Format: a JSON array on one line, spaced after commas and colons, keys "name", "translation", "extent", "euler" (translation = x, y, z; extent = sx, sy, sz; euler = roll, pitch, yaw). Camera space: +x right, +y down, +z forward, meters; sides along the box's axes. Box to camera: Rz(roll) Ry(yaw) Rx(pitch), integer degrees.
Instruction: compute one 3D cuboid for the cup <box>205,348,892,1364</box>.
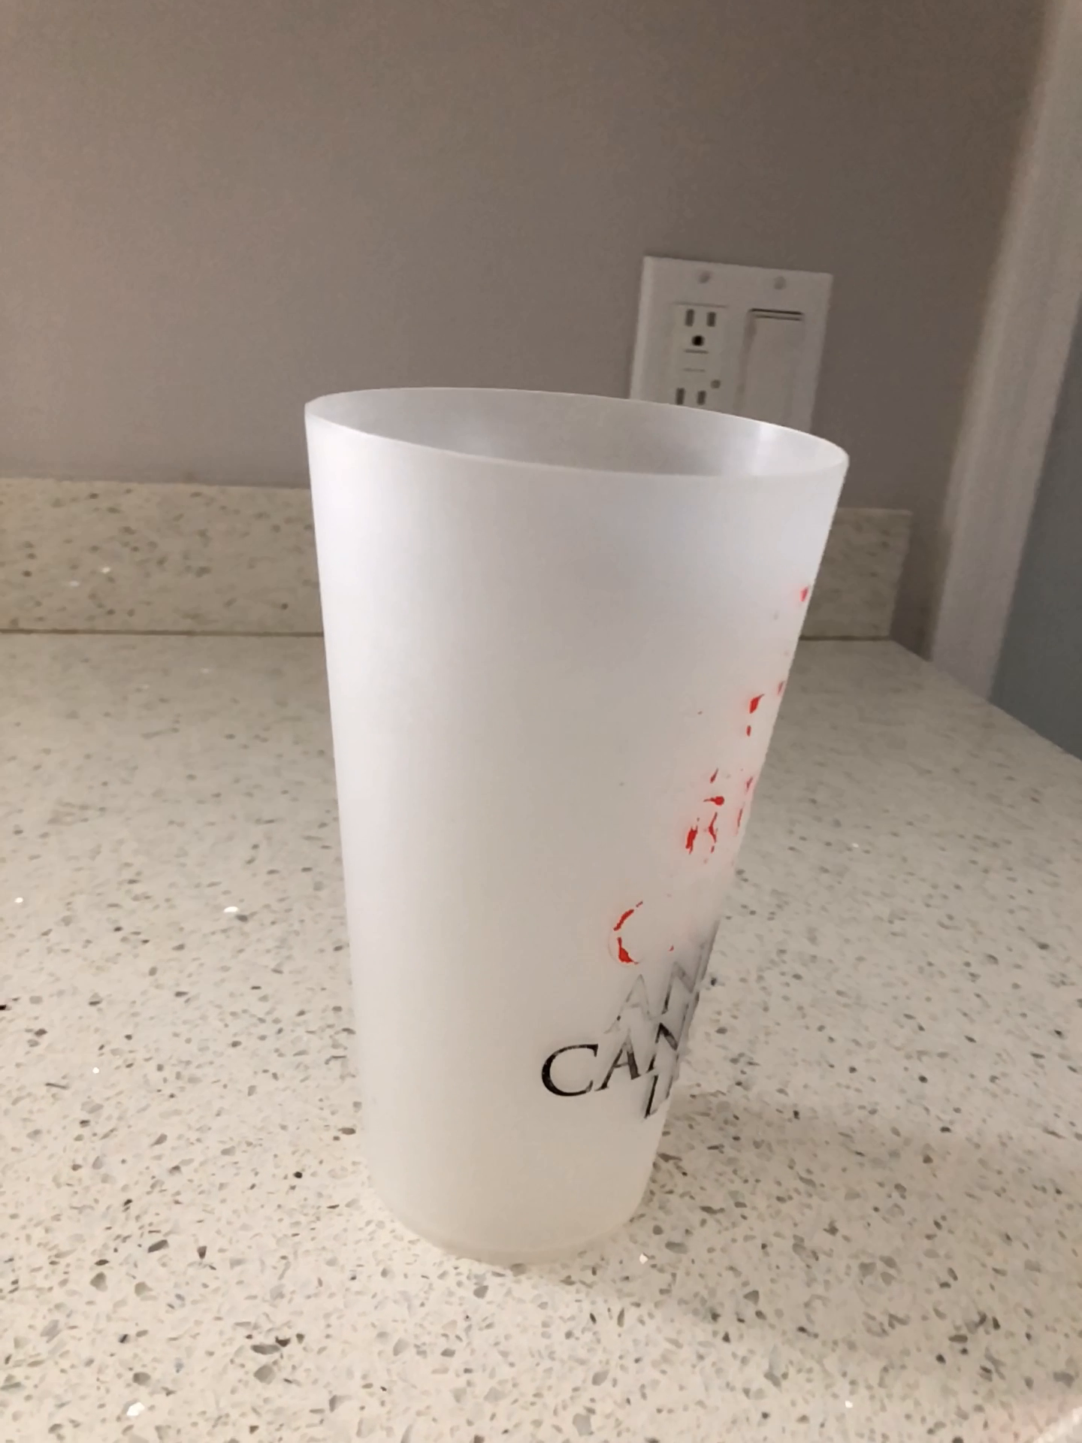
[{"name": "cup", "translation": [0.001, 0.016, 0.249], "extent": [0.093, 0.166, 0.096], "euler": [4, 22, -2]}]
